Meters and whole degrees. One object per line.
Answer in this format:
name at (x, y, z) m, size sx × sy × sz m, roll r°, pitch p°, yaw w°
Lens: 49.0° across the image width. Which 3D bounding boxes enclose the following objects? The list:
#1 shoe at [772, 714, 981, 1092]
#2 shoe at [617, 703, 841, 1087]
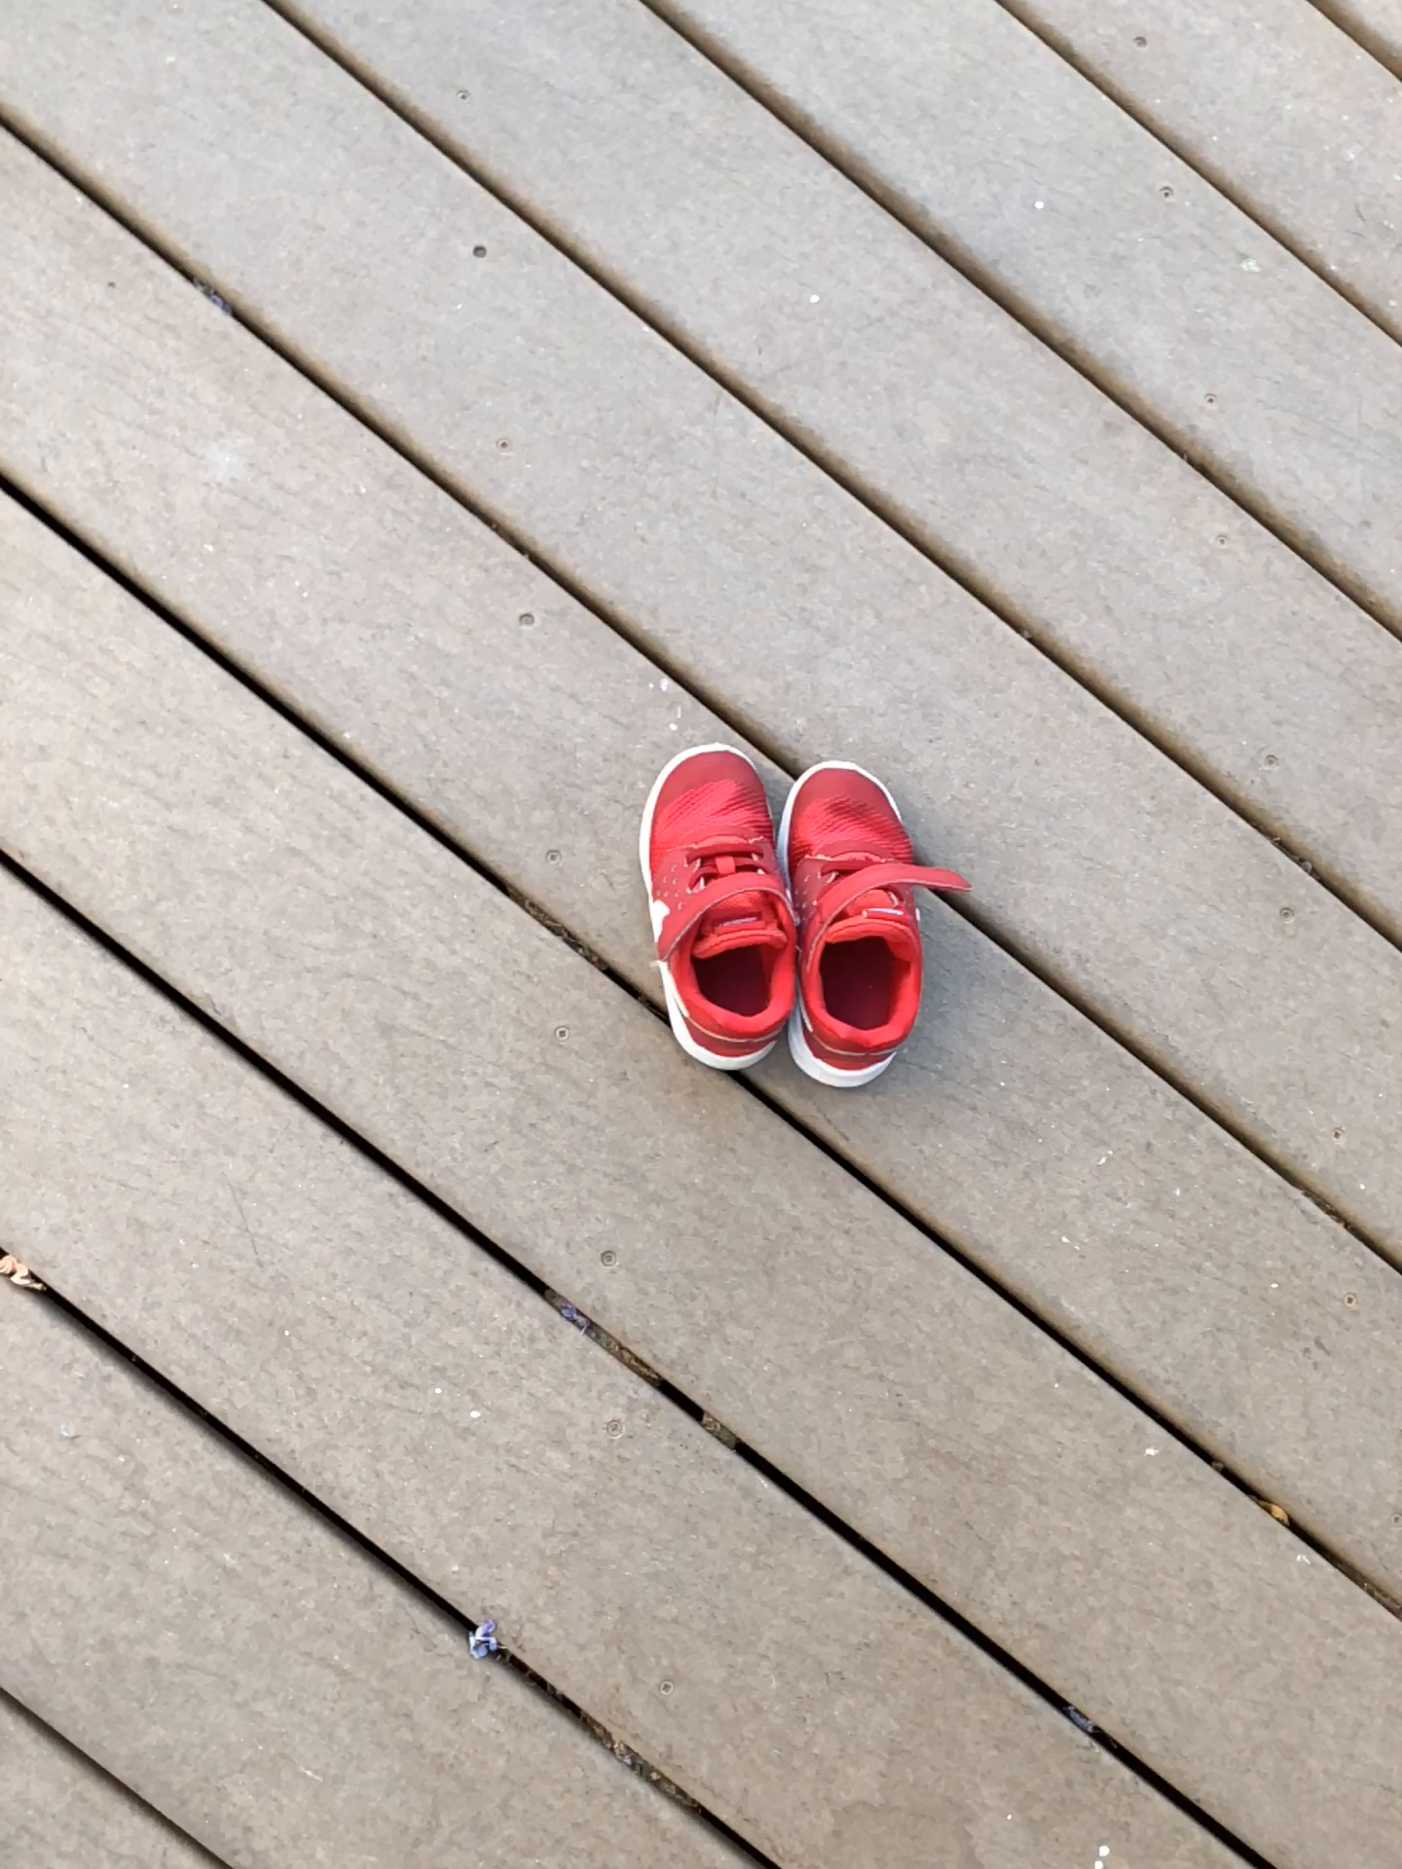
shoe at (0.081, -0.011, 0.737) m, size 0.077 × 0.087 × 0.167 m, roll 2°, pitch 82°, yaw -9°
shoe at (0.010, -0.016, 0.734) m, size 0.077 × 0.087 × 0.167 m, roll -4°, pitch 83°, yaw -10°
